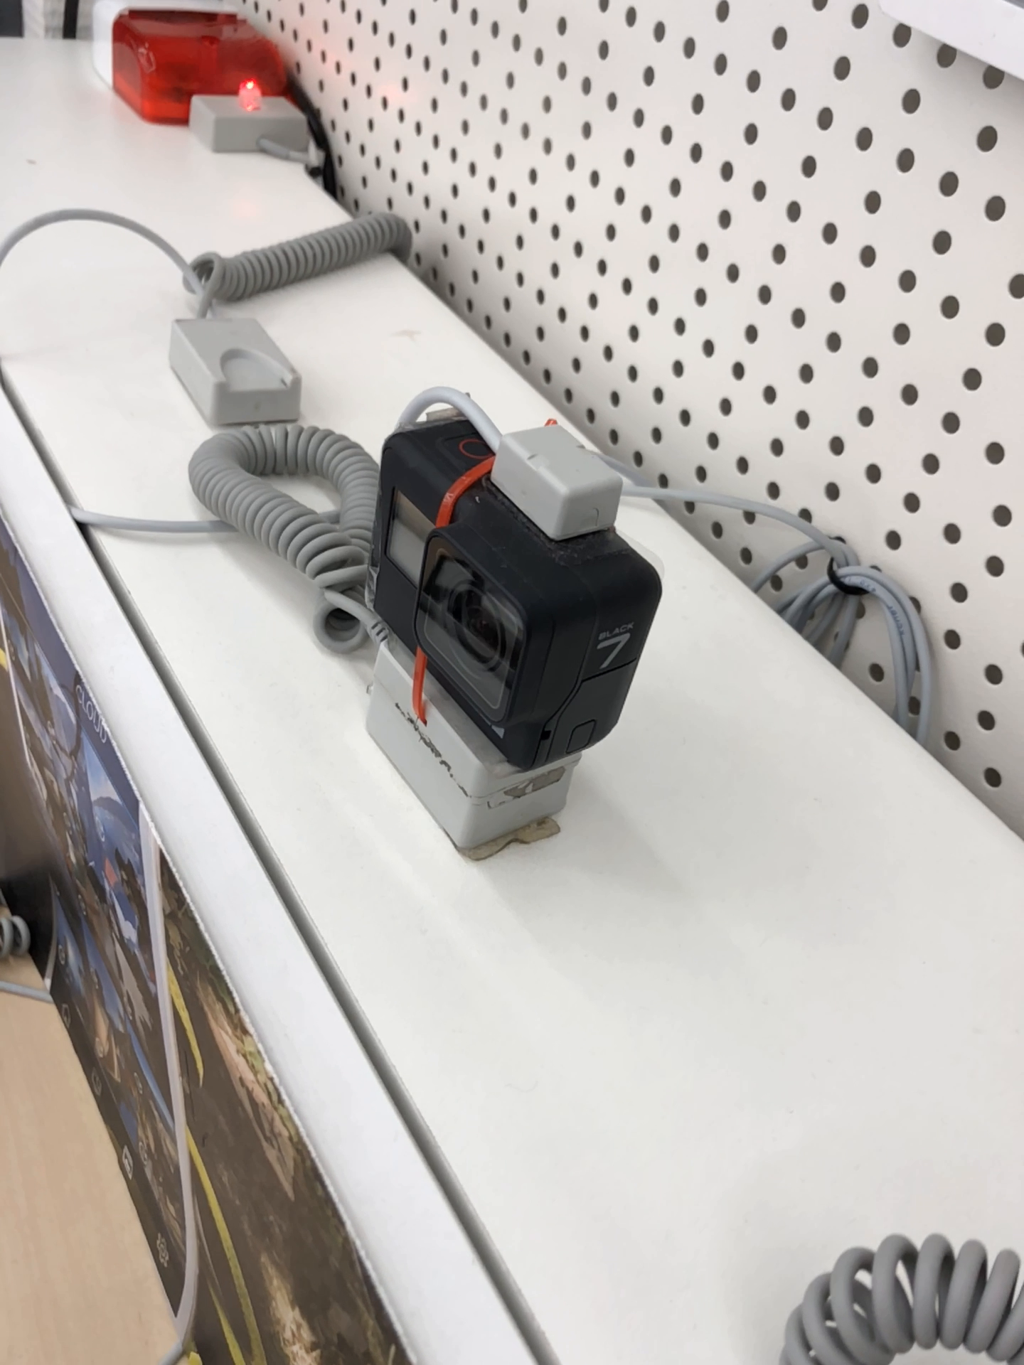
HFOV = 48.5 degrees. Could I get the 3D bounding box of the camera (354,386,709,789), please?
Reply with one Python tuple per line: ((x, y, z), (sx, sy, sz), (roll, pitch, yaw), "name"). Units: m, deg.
((0.000, -0.021, 0.224), (0.029, 0.044, 0.067), (-18, 50, -32), "camera")
